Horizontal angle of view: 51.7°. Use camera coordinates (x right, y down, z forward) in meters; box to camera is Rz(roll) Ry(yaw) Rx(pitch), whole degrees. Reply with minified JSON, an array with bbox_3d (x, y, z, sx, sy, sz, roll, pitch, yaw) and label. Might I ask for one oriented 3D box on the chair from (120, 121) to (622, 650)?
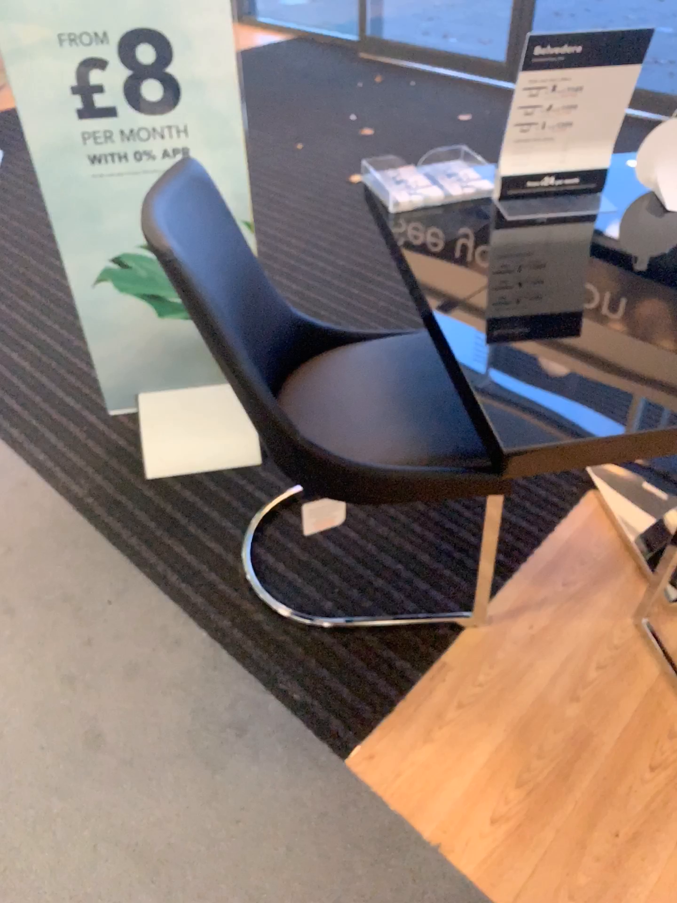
[{"bbox_3d":[0.037,-0.100,1.315,0.609,0.811,0.535,-2,42,-1],"label":"chair"}]
